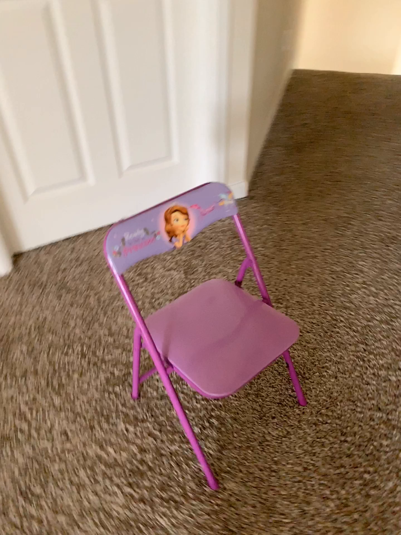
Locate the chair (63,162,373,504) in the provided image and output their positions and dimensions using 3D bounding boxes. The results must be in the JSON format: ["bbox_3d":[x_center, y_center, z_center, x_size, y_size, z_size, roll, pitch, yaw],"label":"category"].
[{"bbox_3d":[0.028,0.117,0.873,0.381,0.468,0.391,-31,49,-30],"label":"chair"}]
